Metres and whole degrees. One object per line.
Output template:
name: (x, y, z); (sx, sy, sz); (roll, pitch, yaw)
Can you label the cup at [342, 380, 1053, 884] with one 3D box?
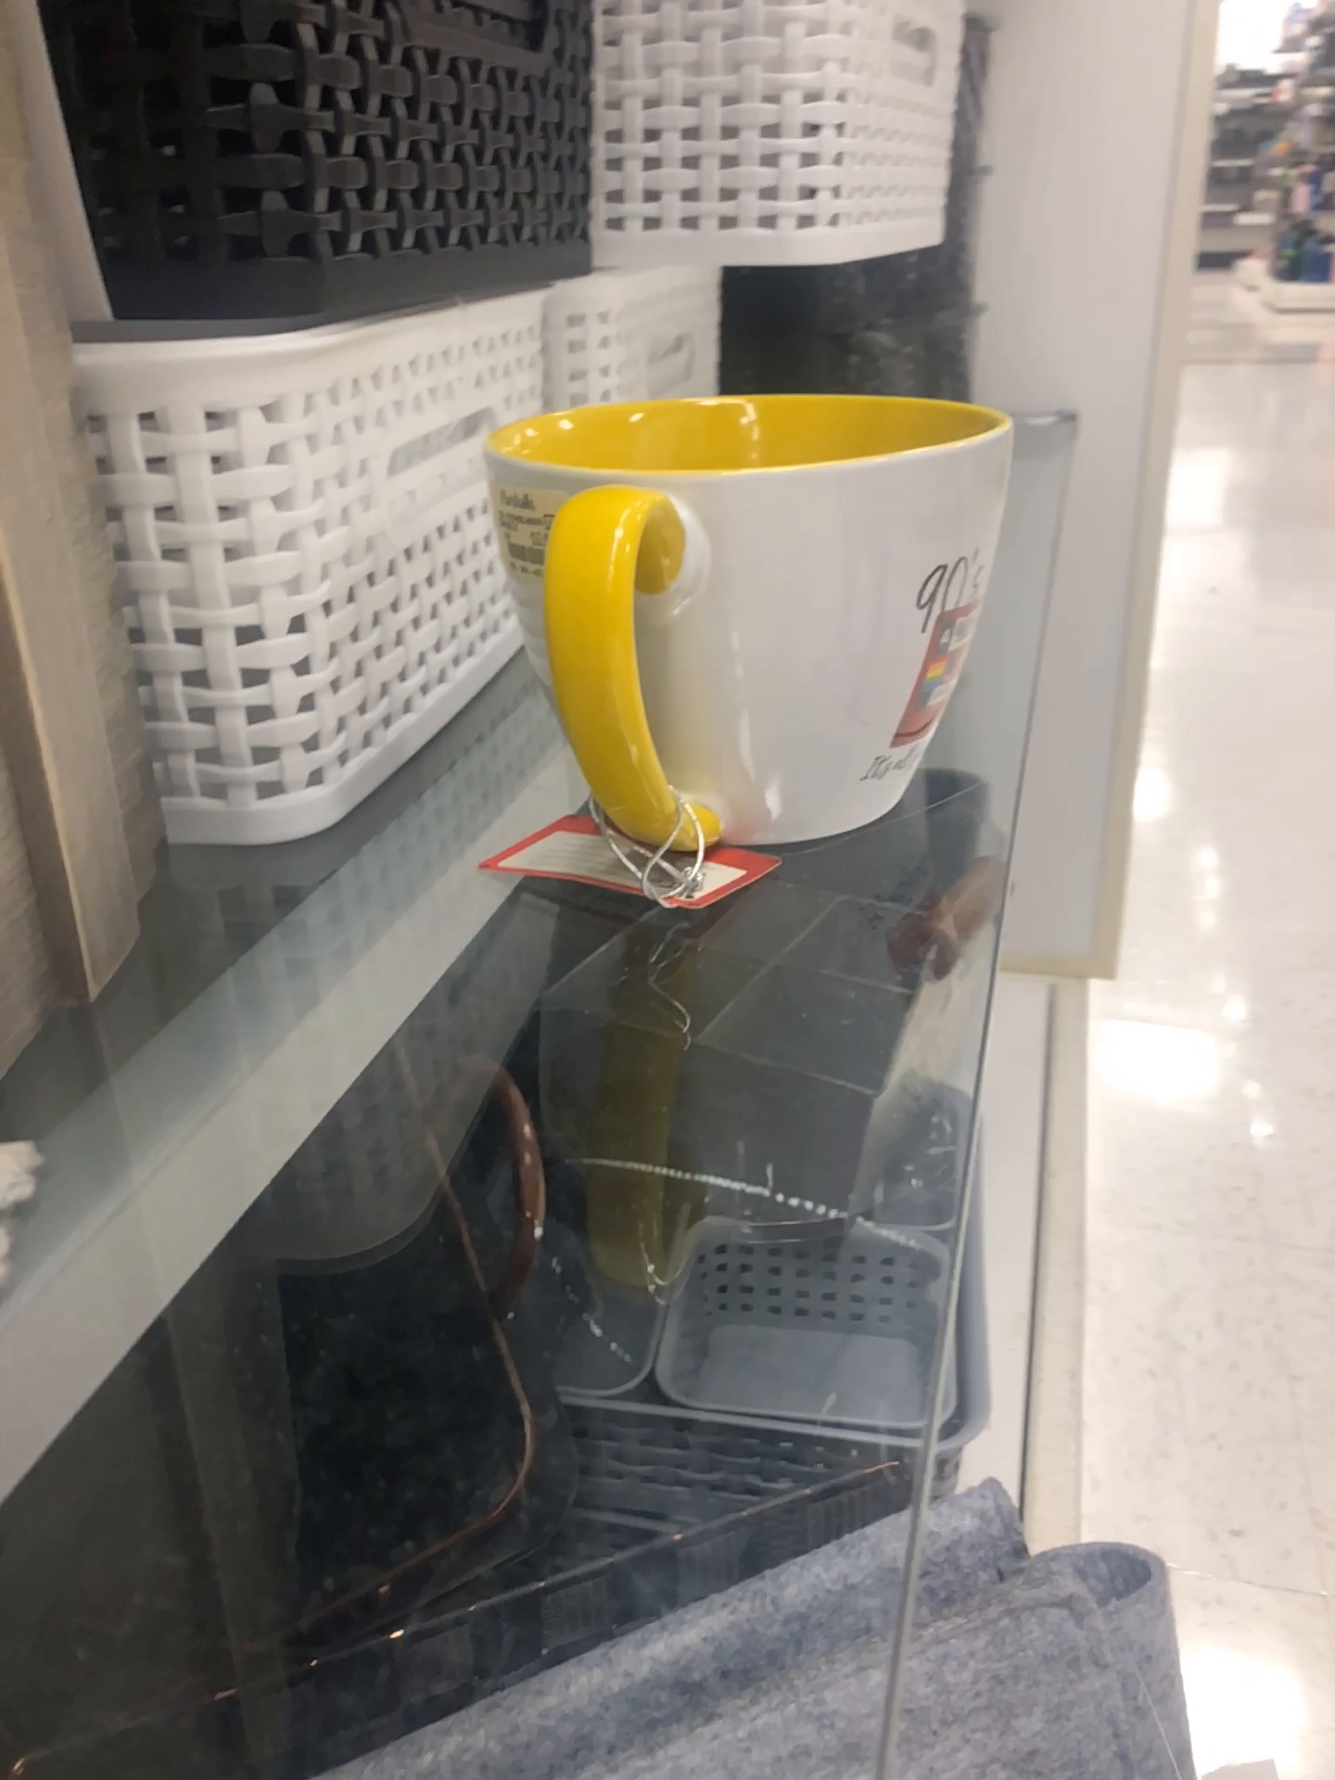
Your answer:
cup: (0.020, -0.073, 0.350); (0.126, 0.076, 0.157); (7, 24, 14)
